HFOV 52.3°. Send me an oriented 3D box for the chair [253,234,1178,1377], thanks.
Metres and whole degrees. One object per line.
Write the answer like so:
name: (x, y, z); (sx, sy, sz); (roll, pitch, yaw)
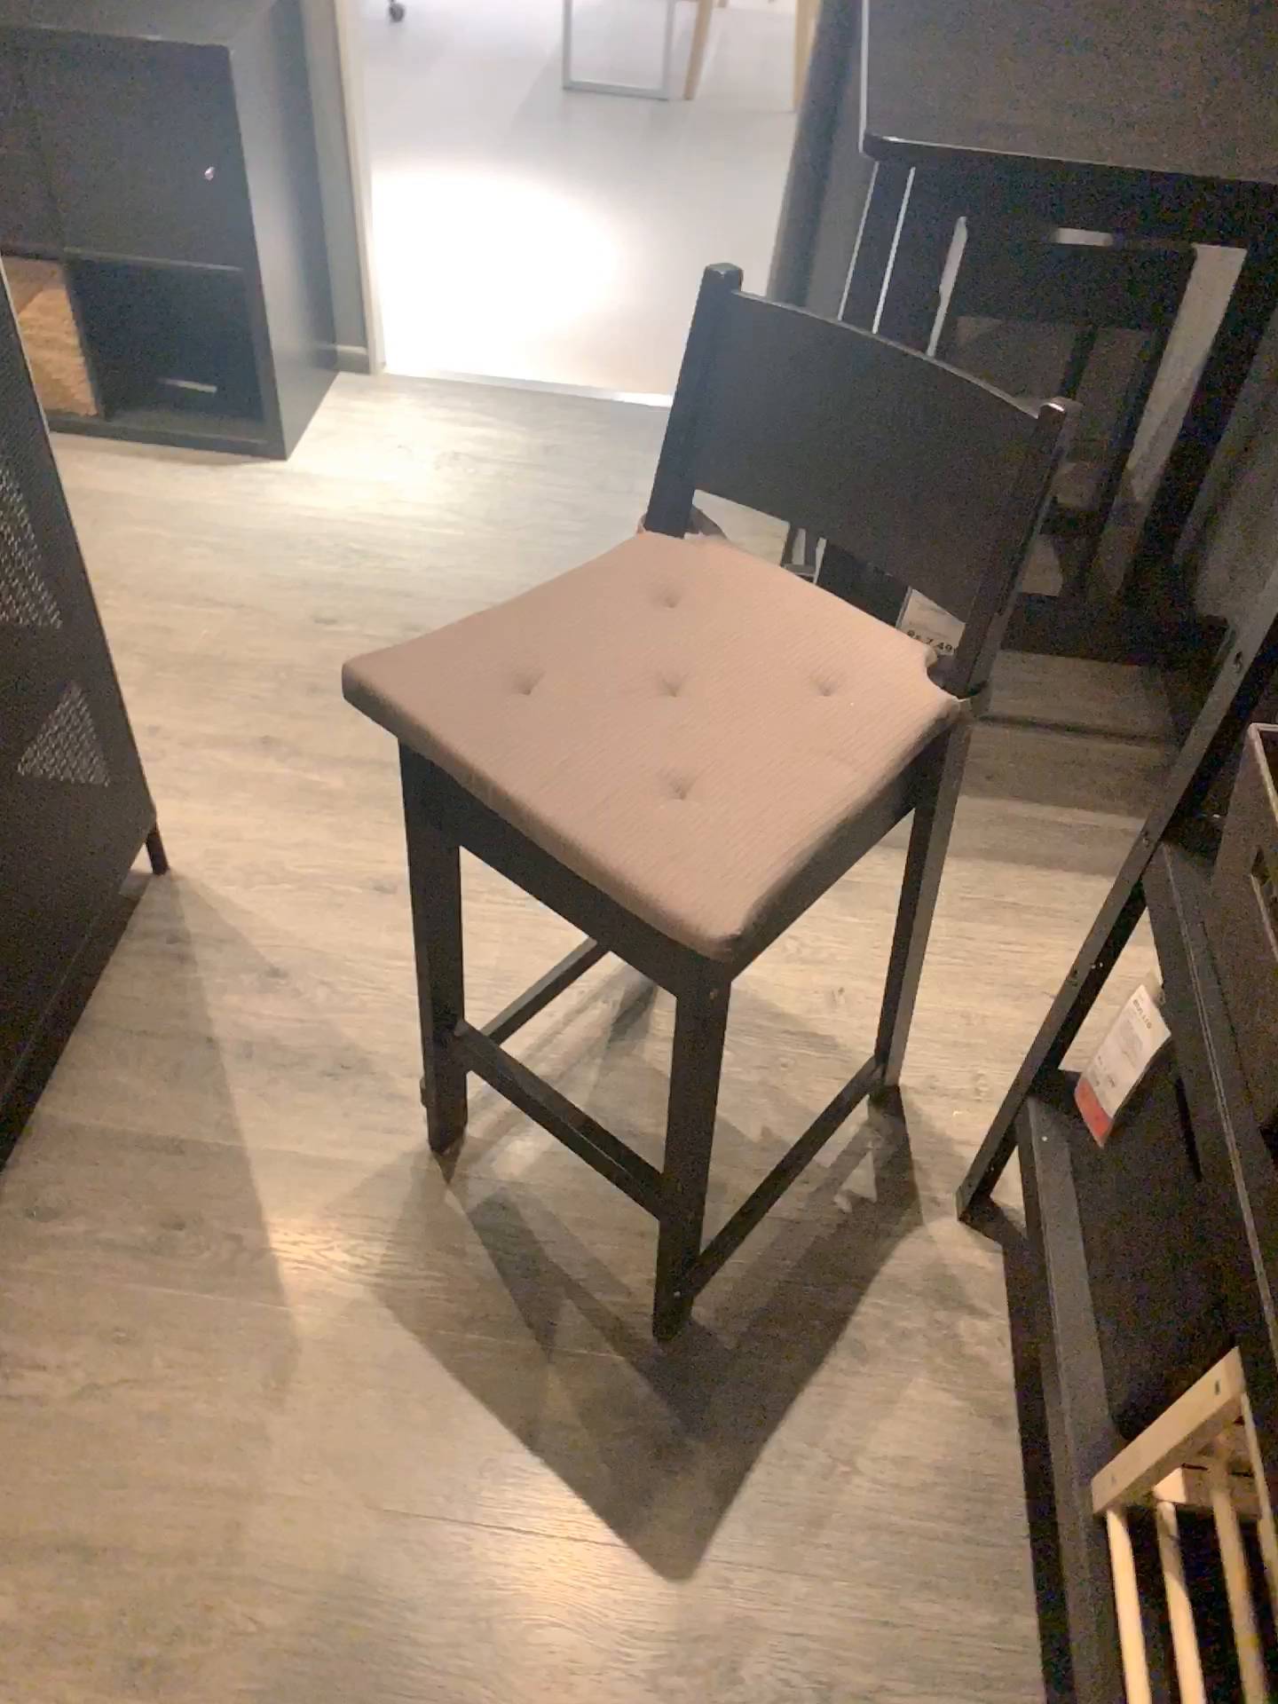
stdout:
chair: (0.044, -0.005, 1.262); (0.461, 0.887, 0.501); (33, 53, 24)
